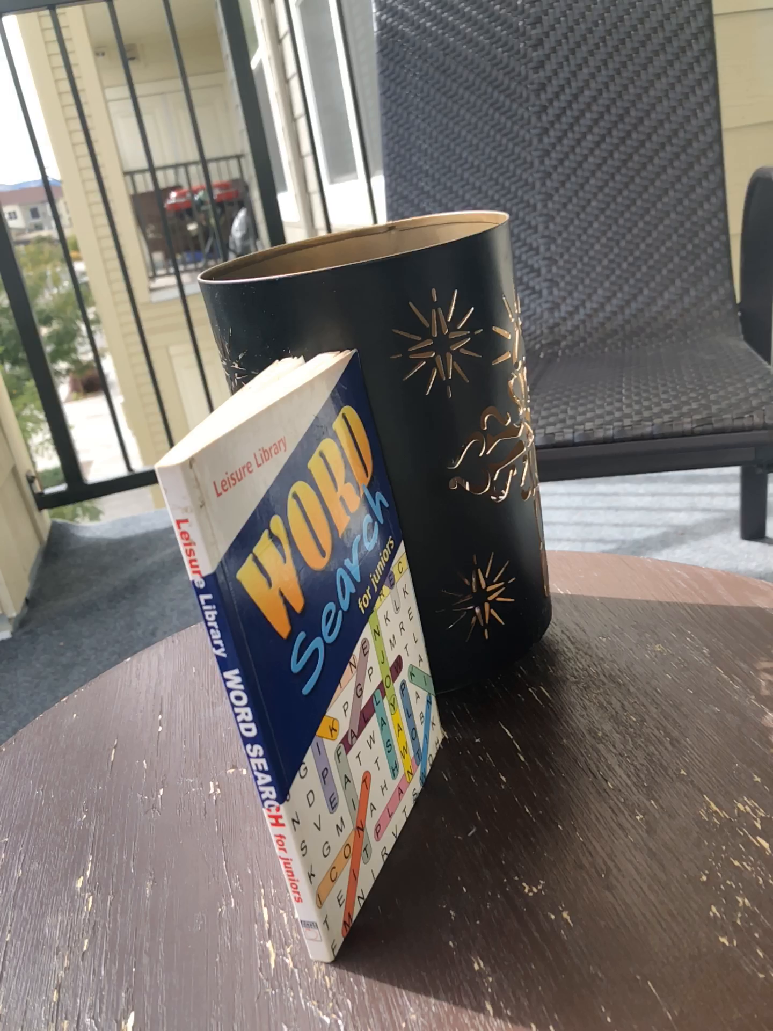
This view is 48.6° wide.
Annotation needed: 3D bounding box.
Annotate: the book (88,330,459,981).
[{"bbox_3d":[-0.023,0.040,0.298,0.031,0.179,0.125,-5,21,23],"label":"book"}]
